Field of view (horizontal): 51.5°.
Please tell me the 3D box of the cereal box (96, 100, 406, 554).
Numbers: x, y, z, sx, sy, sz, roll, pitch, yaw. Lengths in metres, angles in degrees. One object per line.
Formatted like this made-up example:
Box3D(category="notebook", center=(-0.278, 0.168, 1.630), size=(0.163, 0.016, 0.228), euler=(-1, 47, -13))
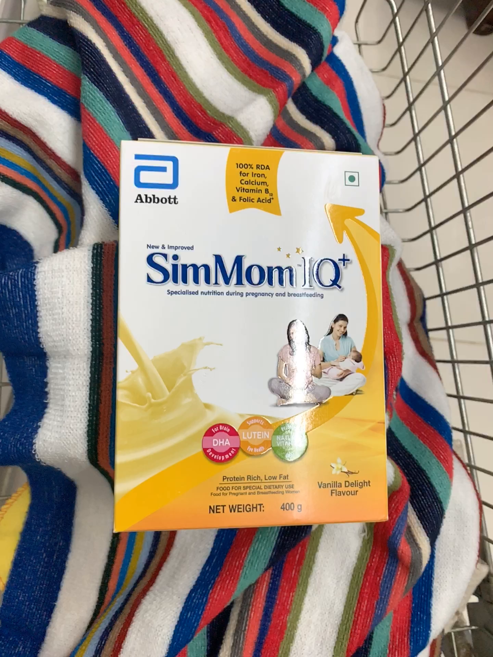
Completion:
Box3D(category="cereal box", center=(0.002, -0.001, 0.260), size=(0.140, 0.050, 0.200), euler=(1, 86, -9))
